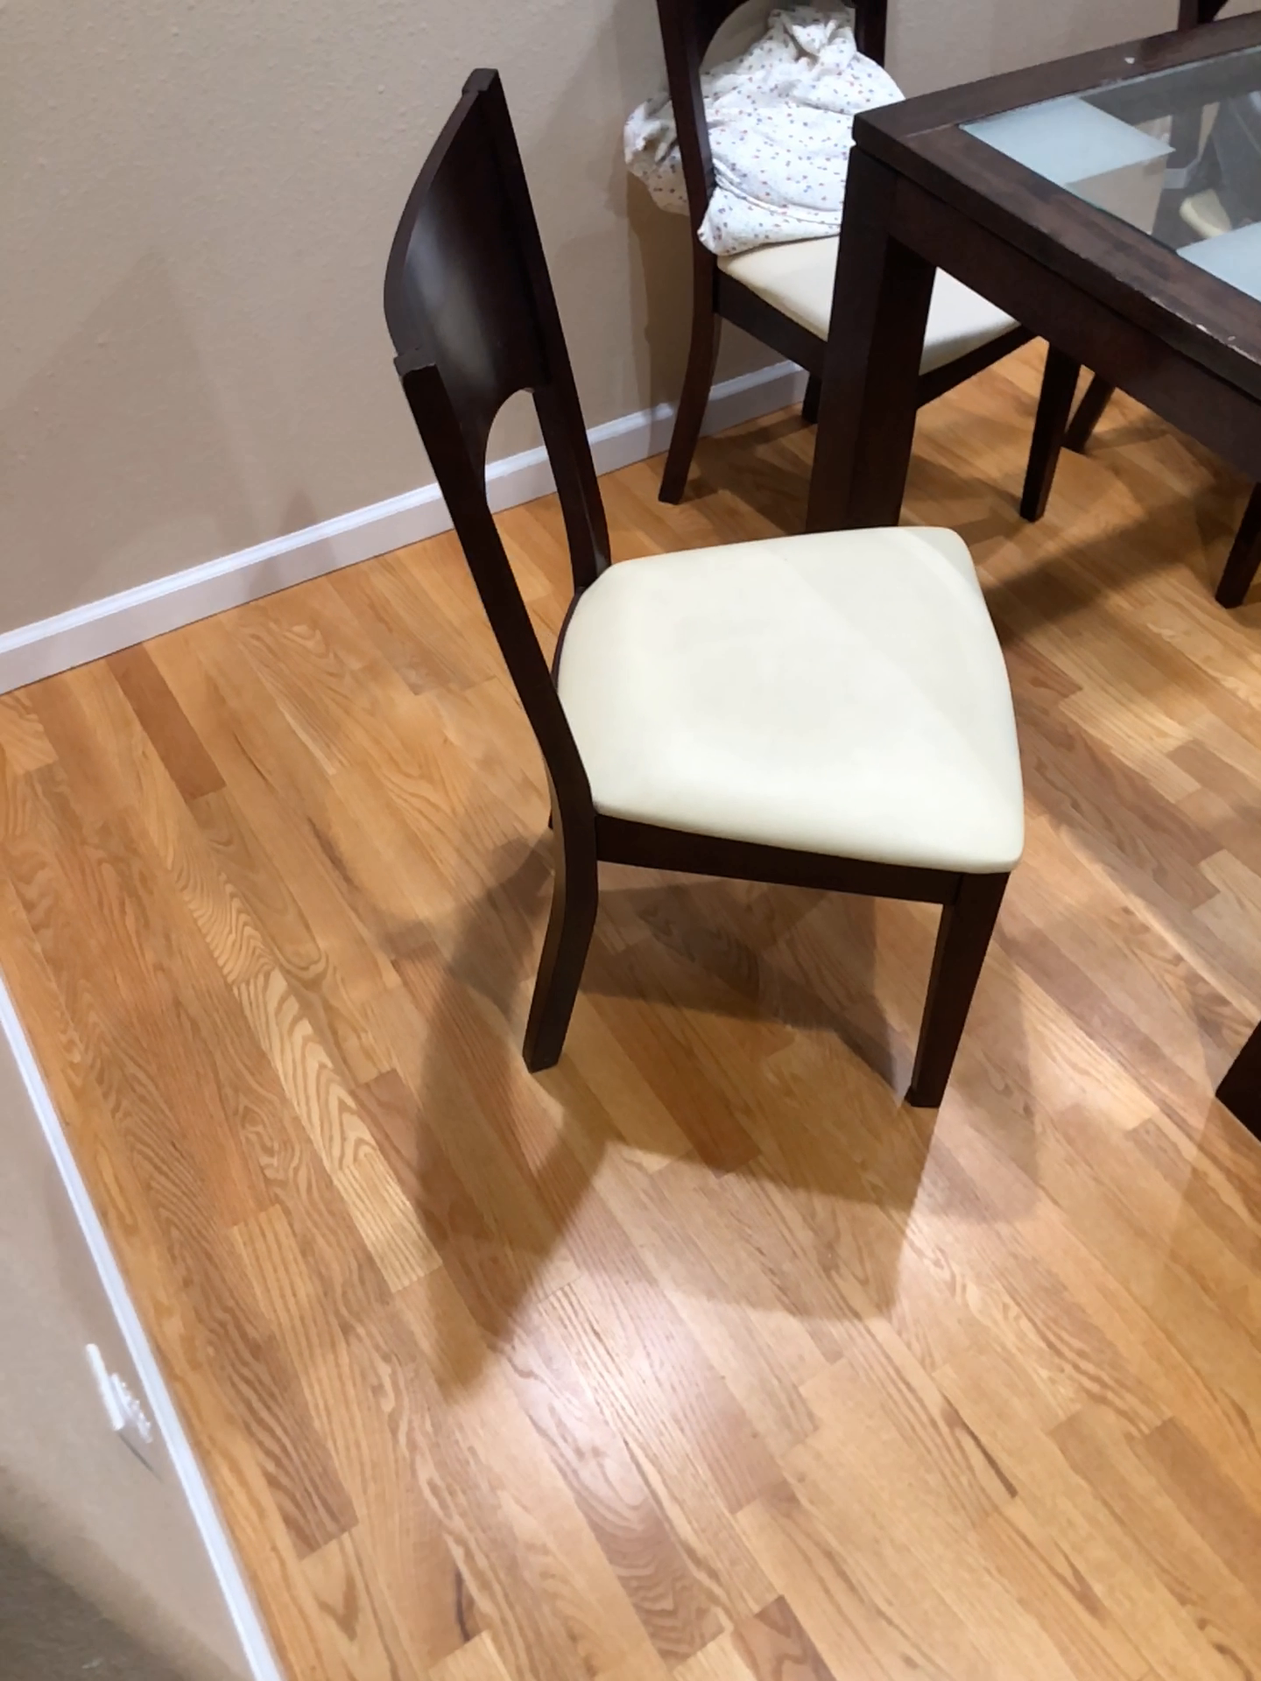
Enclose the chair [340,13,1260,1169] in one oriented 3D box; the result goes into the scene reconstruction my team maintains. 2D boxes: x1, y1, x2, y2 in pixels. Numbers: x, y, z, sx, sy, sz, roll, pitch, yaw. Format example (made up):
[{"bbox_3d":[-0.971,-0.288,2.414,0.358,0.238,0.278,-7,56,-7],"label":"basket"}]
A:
[{"bbox_3d":[0.120,-0.165,1.278,0.530,0.905,0.523,3,49,3],"label":"chair"}]
